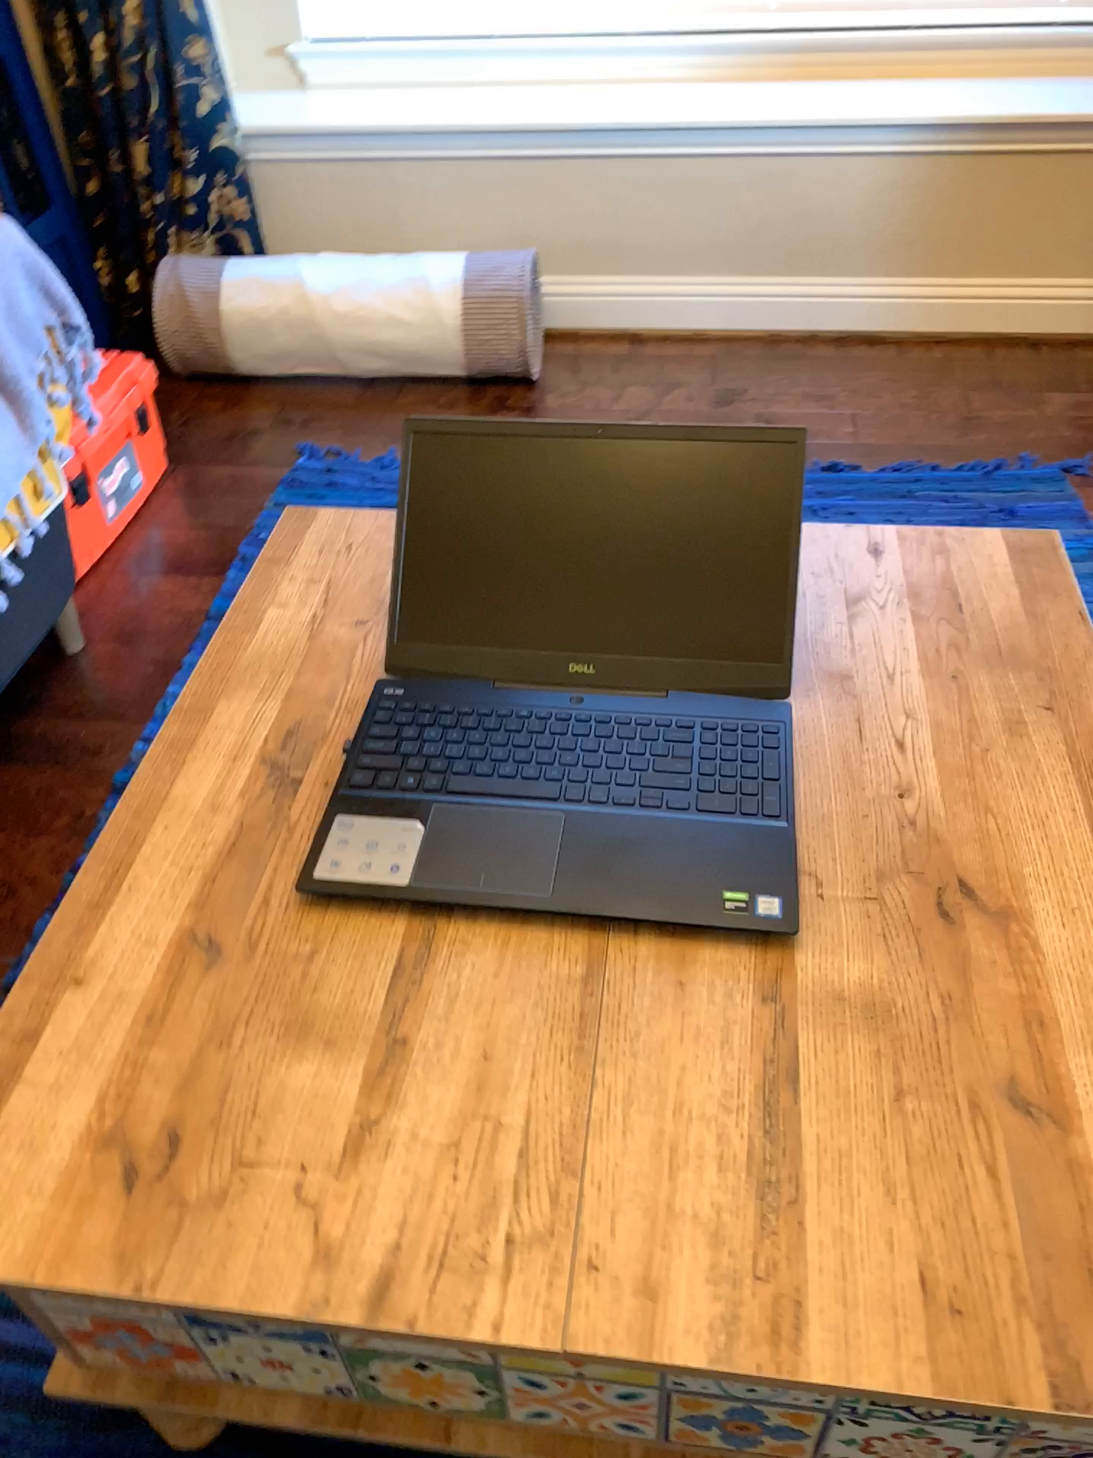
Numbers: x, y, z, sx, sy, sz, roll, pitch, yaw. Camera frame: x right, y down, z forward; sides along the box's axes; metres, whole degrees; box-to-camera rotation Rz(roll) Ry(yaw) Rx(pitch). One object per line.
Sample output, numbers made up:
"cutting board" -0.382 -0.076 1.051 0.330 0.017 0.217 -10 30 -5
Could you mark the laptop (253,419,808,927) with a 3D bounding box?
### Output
"laptop" 0.019 -0.074 0.889 0.346 0.156 0.420 4 43 9
